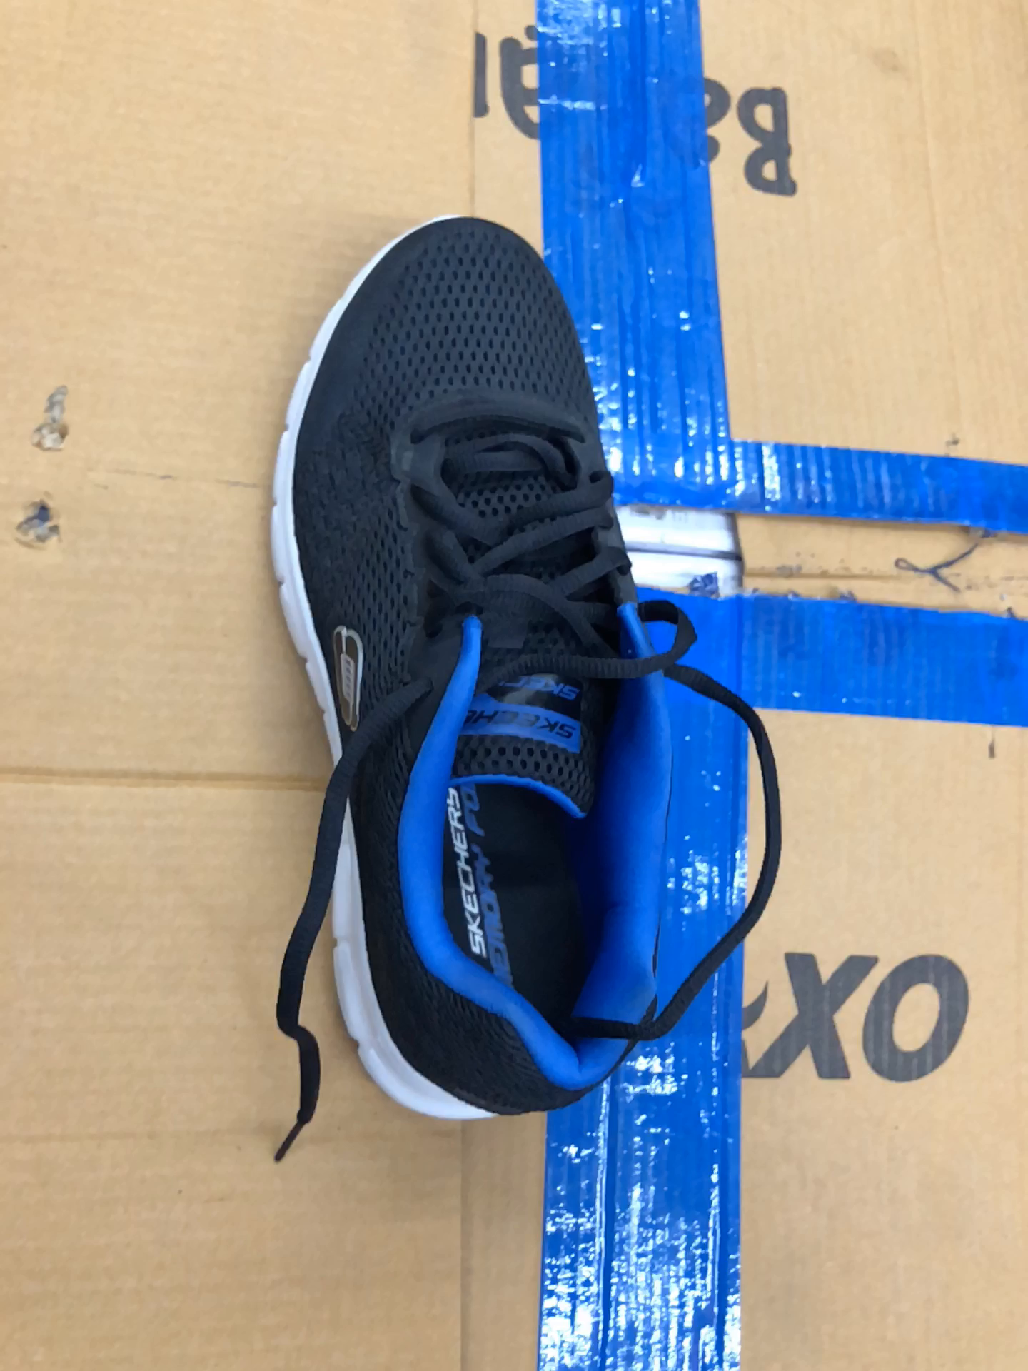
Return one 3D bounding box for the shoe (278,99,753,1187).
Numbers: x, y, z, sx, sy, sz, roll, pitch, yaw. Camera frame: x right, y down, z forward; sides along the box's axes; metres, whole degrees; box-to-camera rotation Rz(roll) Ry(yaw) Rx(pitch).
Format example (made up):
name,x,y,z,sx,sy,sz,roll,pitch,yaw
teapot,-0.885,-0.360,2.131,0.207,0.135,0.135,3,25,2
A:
name,x,y,z,sx,sy,sz,roll,pitch,yaw
shoe,-0.015,-0.010,0.353,0.110,0.130,0.270,0,79,-13
